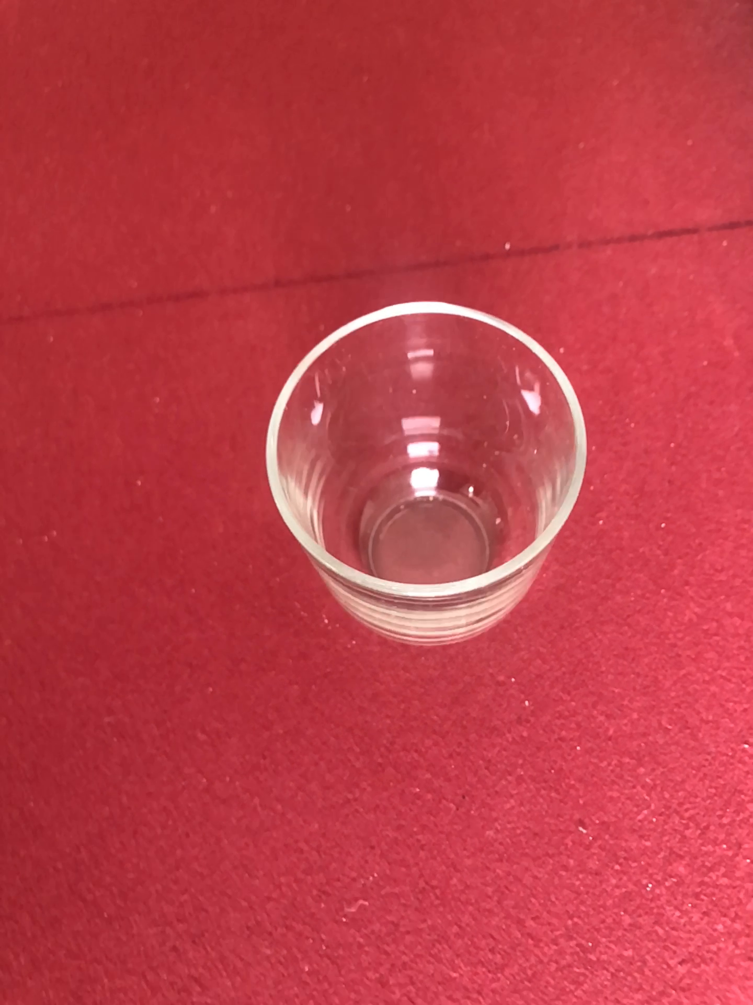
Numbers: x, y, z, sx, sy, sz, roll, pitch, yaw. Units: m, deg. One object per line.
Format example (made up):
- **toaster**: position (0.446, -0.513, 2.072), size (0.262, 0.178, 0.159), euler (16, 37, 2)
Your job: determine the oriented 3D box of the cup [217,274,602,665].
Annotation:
- **cup**: position (0.010, -0.005, 0.222), size (0.080, 0.070, 0.080), euler (-1, 69, 3)
